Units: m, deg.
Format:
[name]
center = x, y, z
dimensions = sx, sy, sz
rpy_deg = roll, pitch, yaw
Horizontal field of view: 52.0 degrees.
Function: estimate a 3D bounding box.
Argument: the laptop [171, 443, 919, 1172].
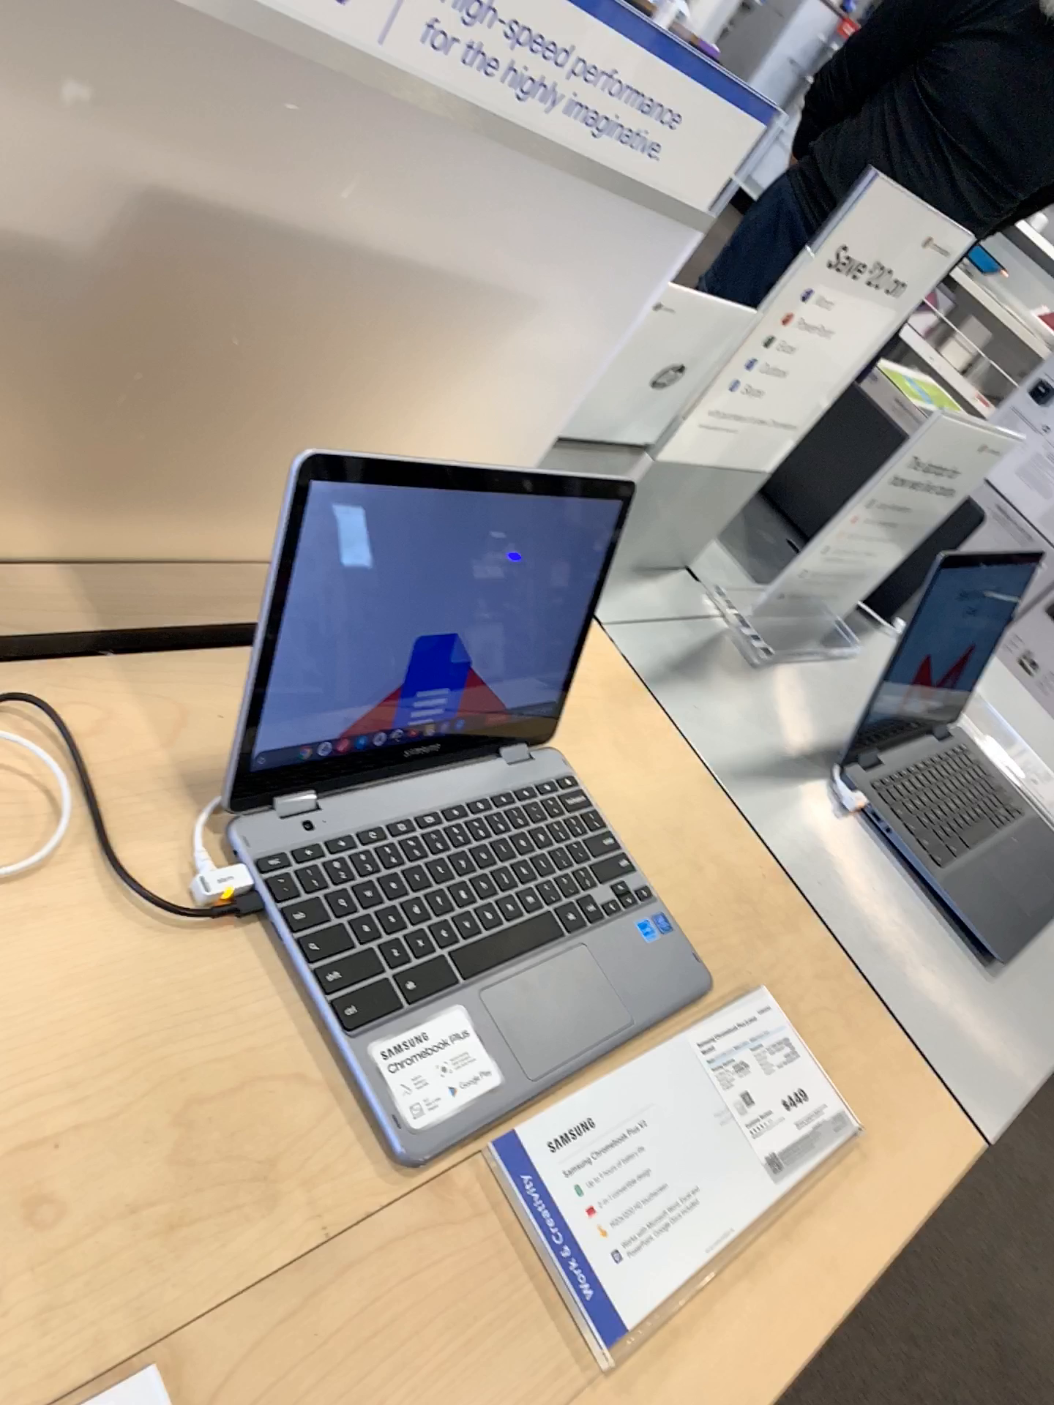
[laptop]
center = 0.012, 0.035, 0.614
dimensions = 0.274, 0.181, 0.288
rpy_deg = -10, 59, -49
